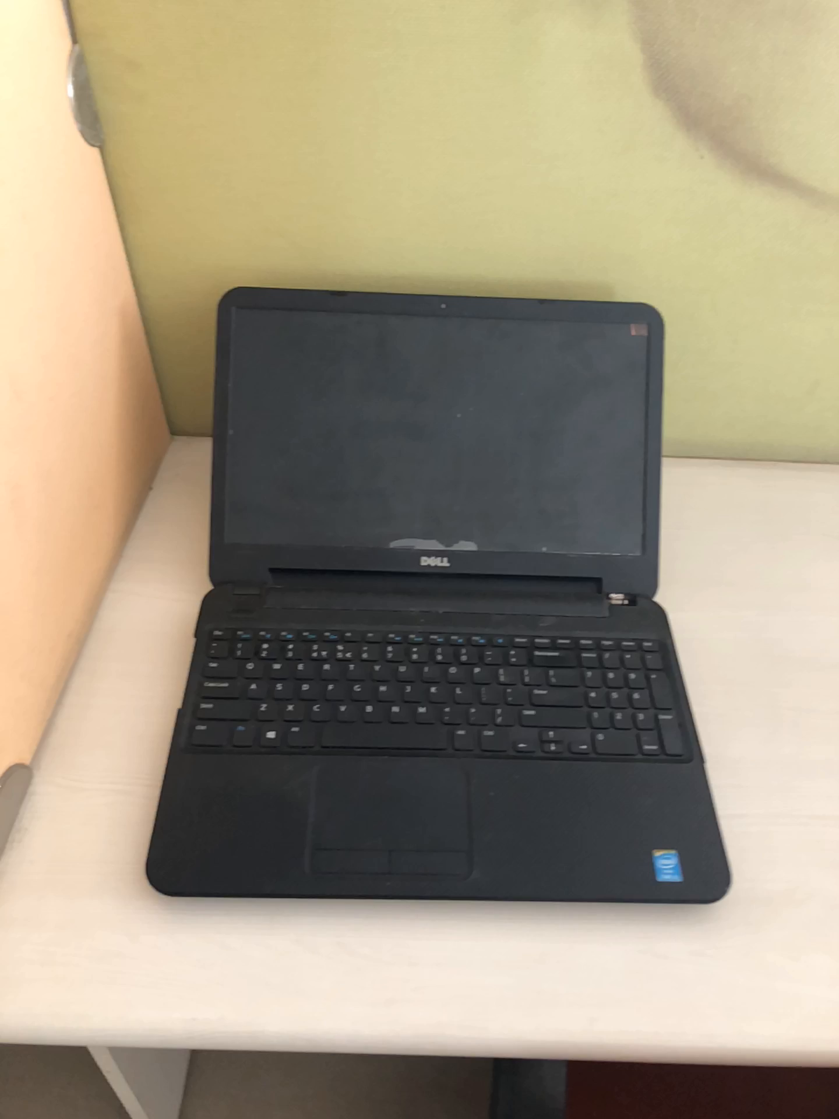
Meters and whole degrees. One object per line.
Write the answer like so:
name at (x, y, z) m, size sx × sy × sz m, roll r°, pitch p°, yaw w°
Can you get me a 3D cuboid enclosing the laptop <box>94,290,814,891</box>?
laptop at (0.017, -0.006, 0.662) m, size 0.356 × 0.165 × 0.427 m, roll 1°, pitch 45°, yaw -2°
